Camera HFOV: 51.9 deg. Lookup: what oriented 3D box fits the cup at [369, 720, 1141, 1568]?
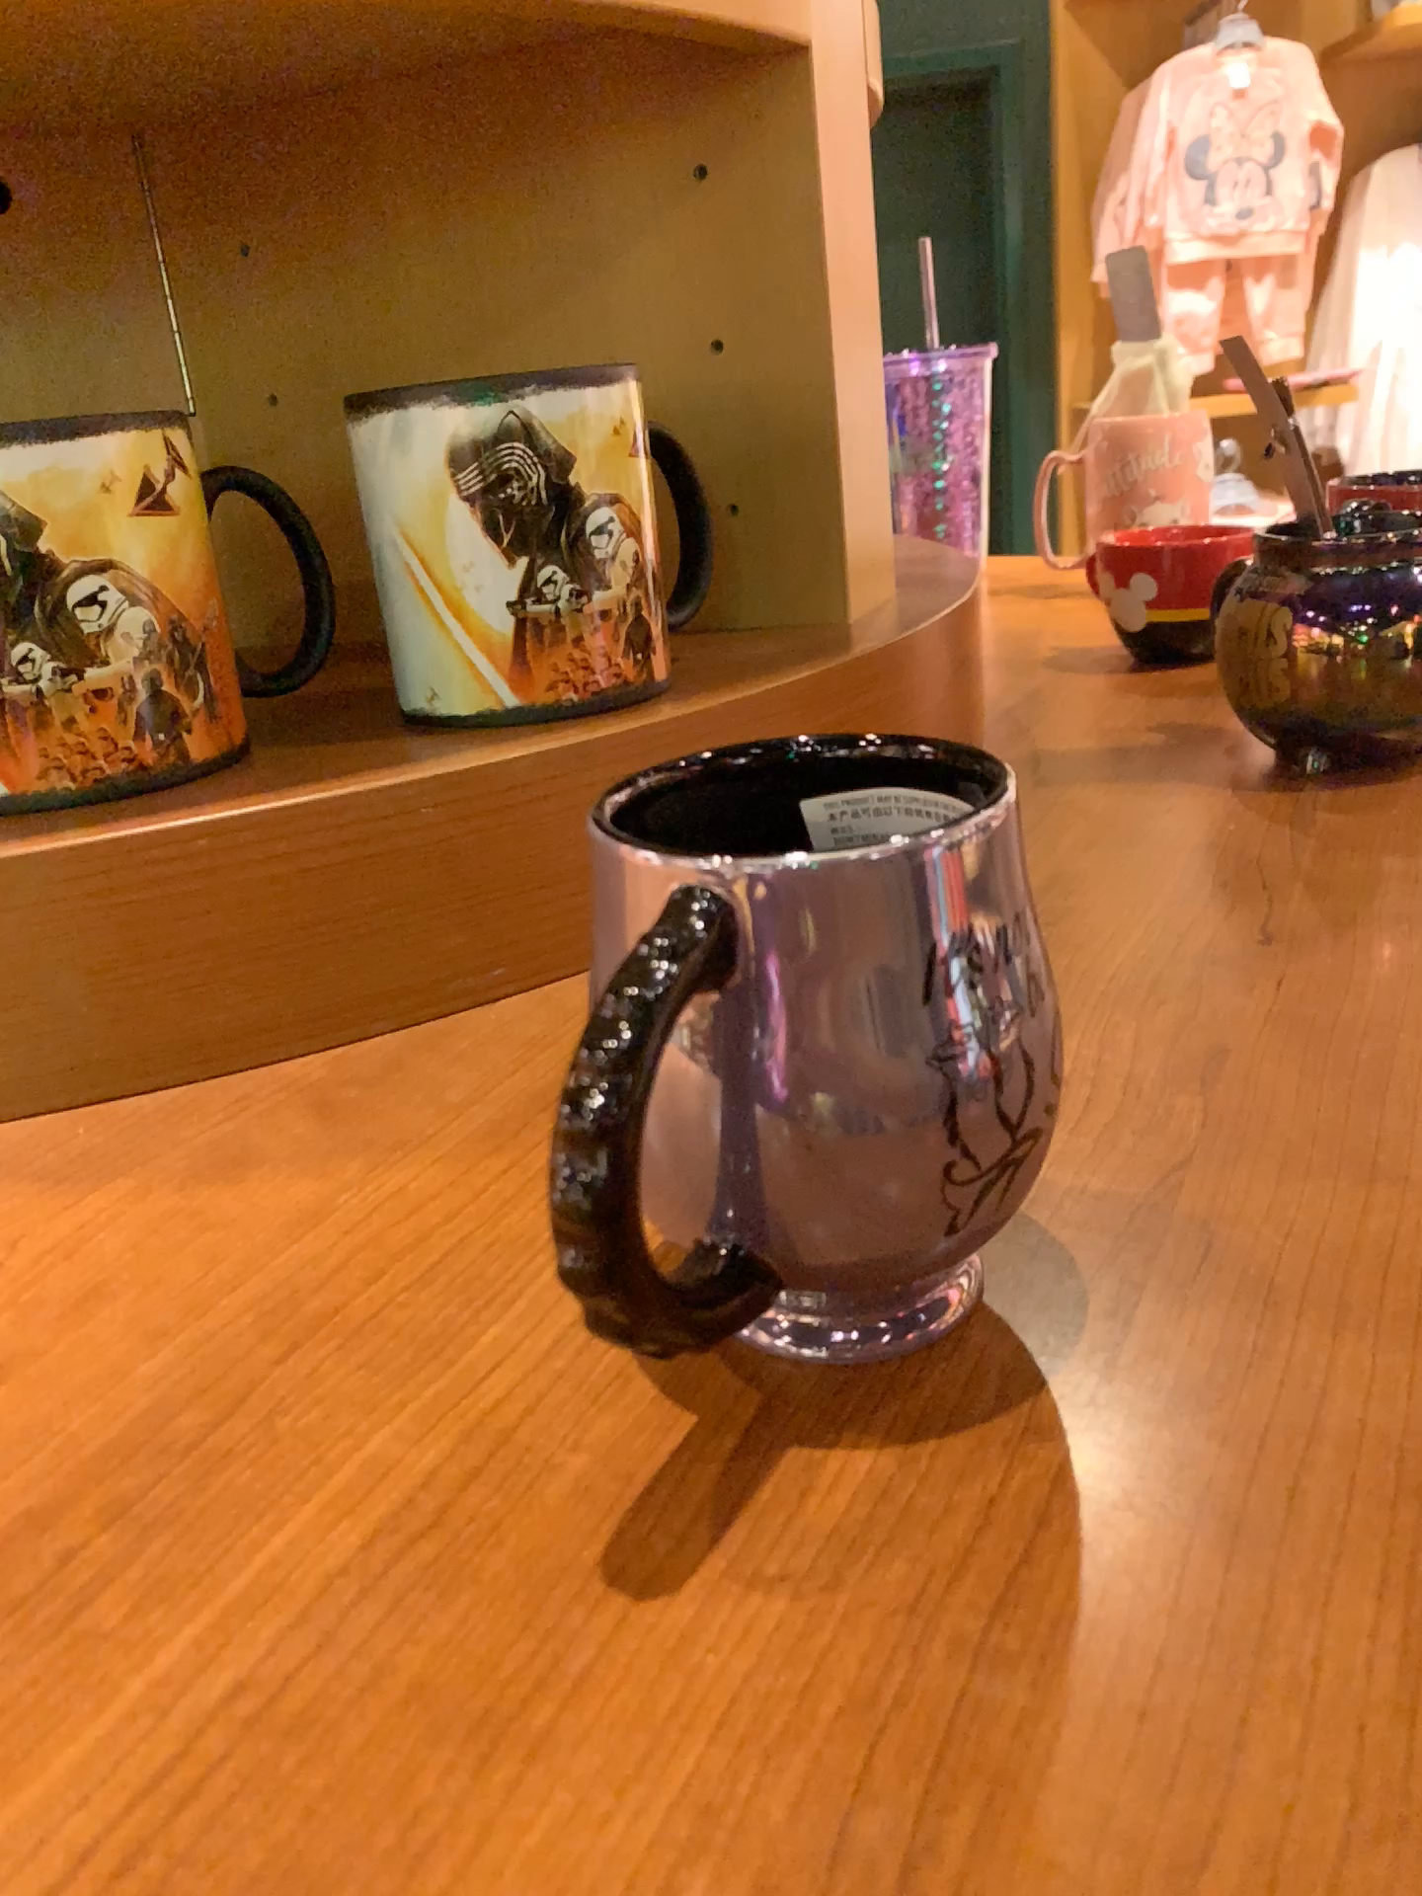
[{"bbox_3d":[0.020,0.019,0.260,0.086,0.089,0.126,5,23,26],"label":"cup"}]
